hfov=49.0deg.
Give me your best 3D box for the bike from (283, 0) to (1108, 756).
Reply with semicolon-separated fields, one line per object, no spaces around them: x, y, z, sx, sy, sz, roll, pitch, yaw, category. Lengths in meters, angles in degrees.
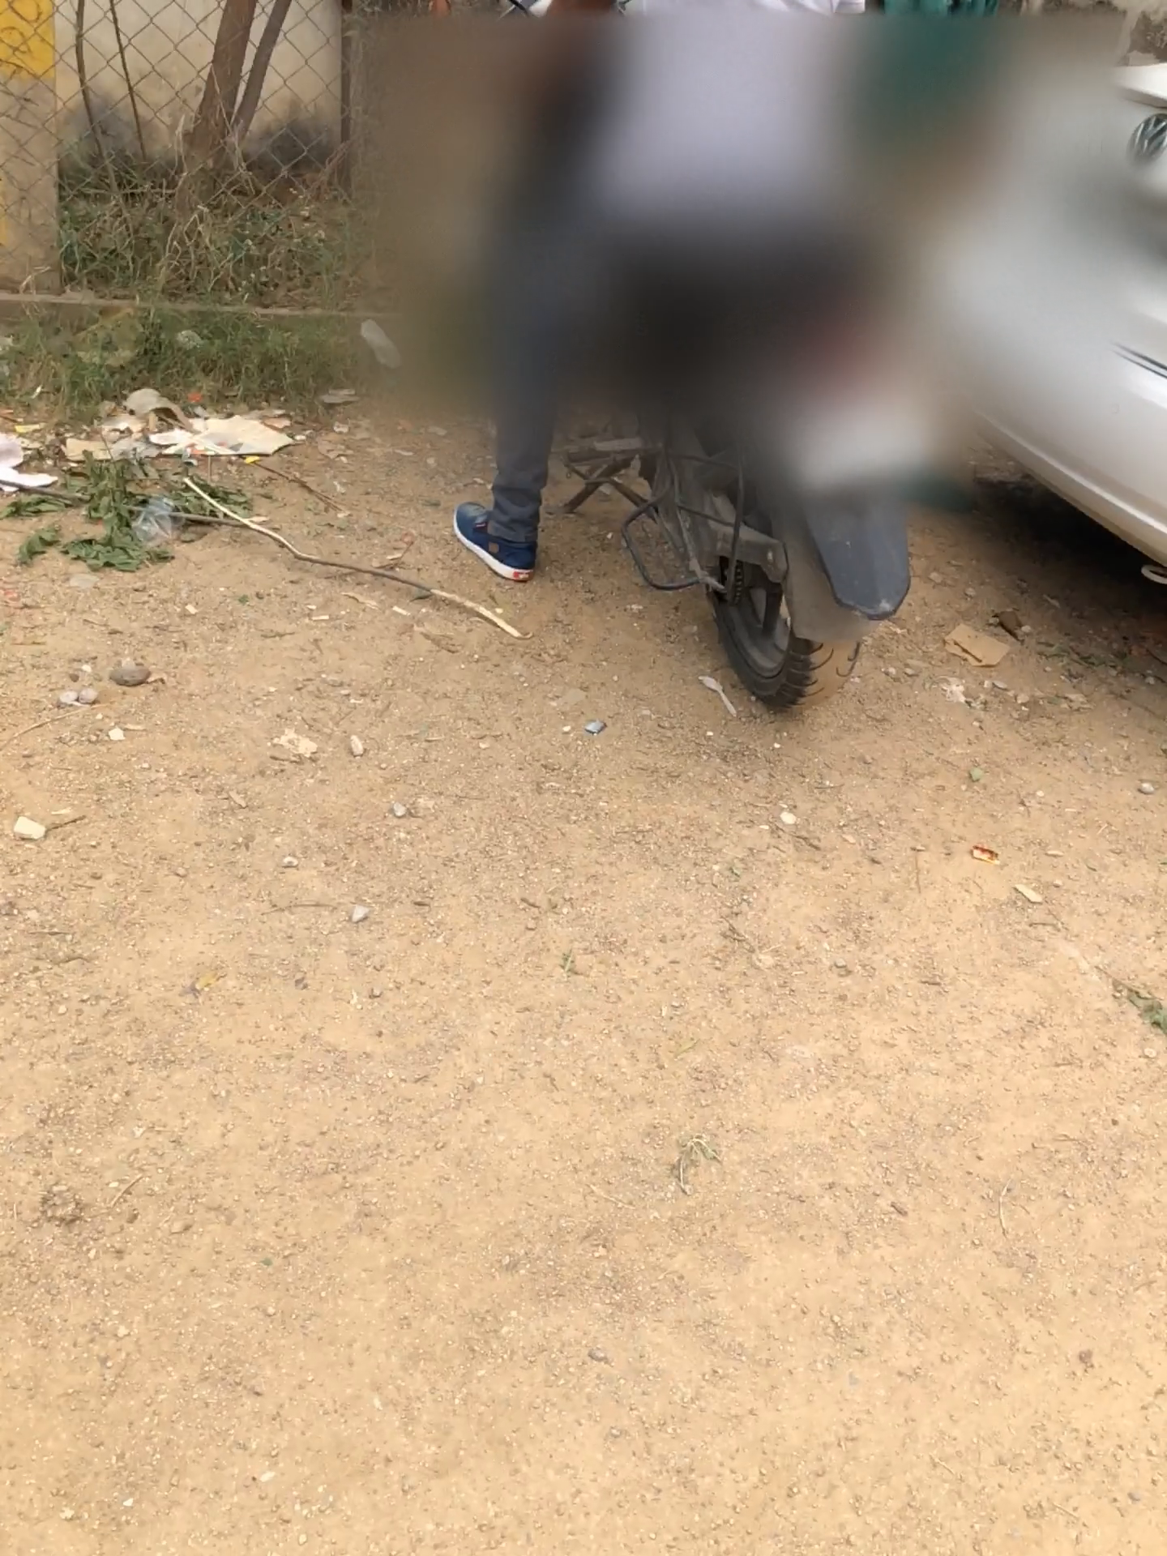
-0.039;-1.053;2.199;0.528;1.094;1.624;-9;44;-25;bike
